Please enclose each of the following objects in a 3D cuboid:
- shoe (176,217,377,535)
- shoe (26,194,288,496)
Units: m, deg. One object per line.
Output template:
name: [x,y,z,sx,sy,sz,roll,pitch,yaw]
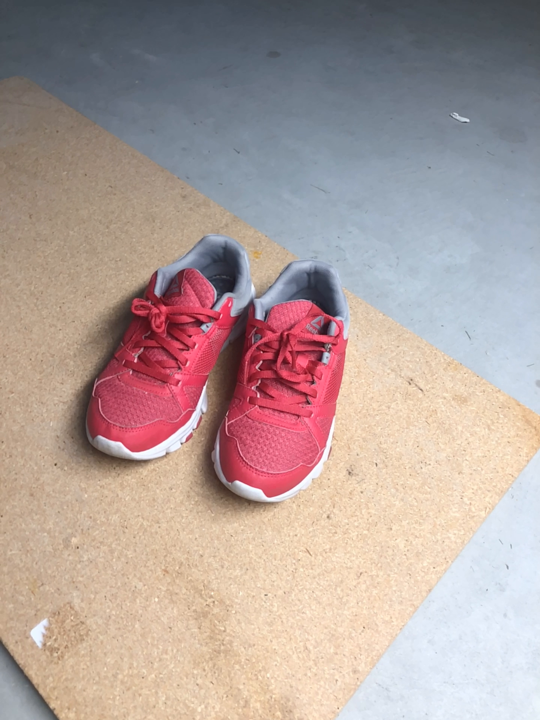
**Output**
shoe: [0.015,0.001,0.545,0.110,0.100,0.271,14,50,5]
shoe: [-0.086,-0.028,0.555,0.100,0.100,0.271,21,51,11]
